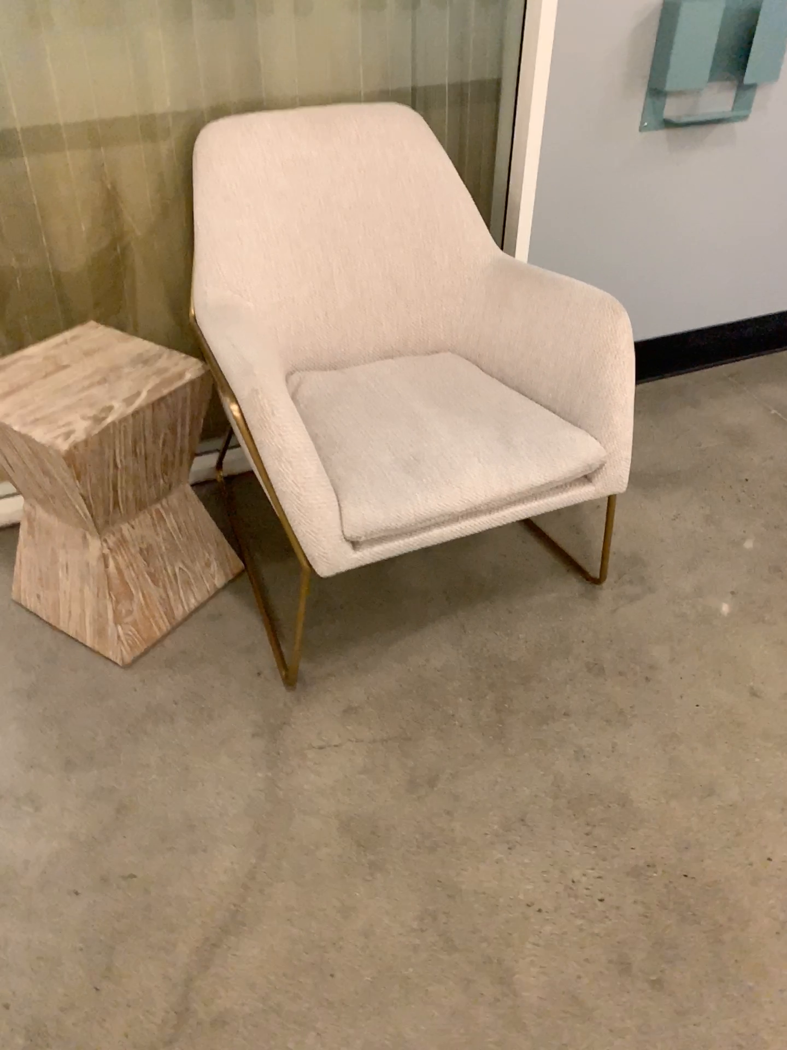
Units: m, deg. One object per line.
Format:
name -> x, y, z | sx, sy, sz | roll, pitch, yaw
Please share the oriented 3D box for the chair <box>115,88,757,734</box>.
chair -> -0.010, -0.302, 1.587 | 0.750, 0.815, 0.886 | -15, 41, -20
